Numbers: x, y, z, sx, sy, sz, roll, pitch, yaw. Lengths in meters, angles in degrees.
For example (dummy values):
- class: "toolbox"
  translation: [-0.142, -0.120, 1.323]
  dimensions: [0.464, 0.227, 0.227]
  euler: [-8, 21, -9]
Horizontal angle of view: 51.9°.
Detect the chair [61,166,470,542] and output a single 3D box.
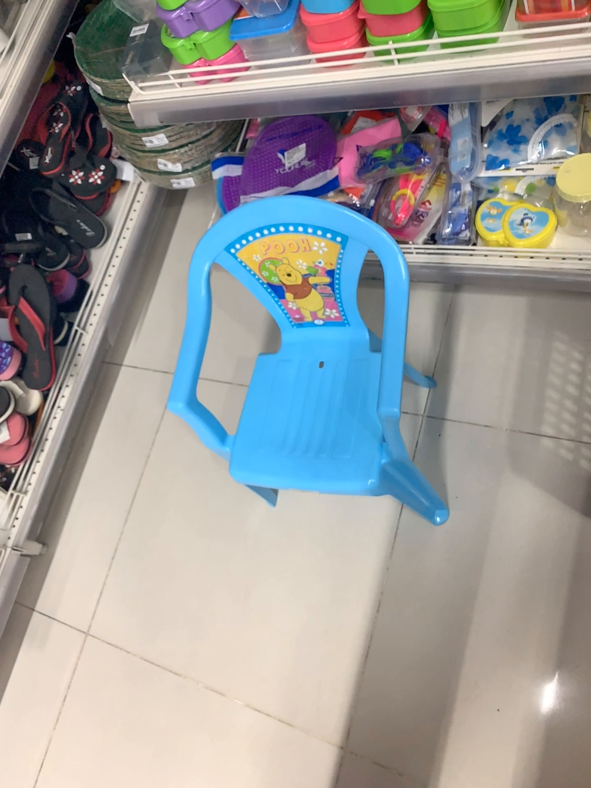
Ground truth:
- class: "chair"
  translation: [0.018, -0.004, 0.921]
  dimensions: [0.391, 0.508, 0.350]
  euler: [0, 71, 25]
